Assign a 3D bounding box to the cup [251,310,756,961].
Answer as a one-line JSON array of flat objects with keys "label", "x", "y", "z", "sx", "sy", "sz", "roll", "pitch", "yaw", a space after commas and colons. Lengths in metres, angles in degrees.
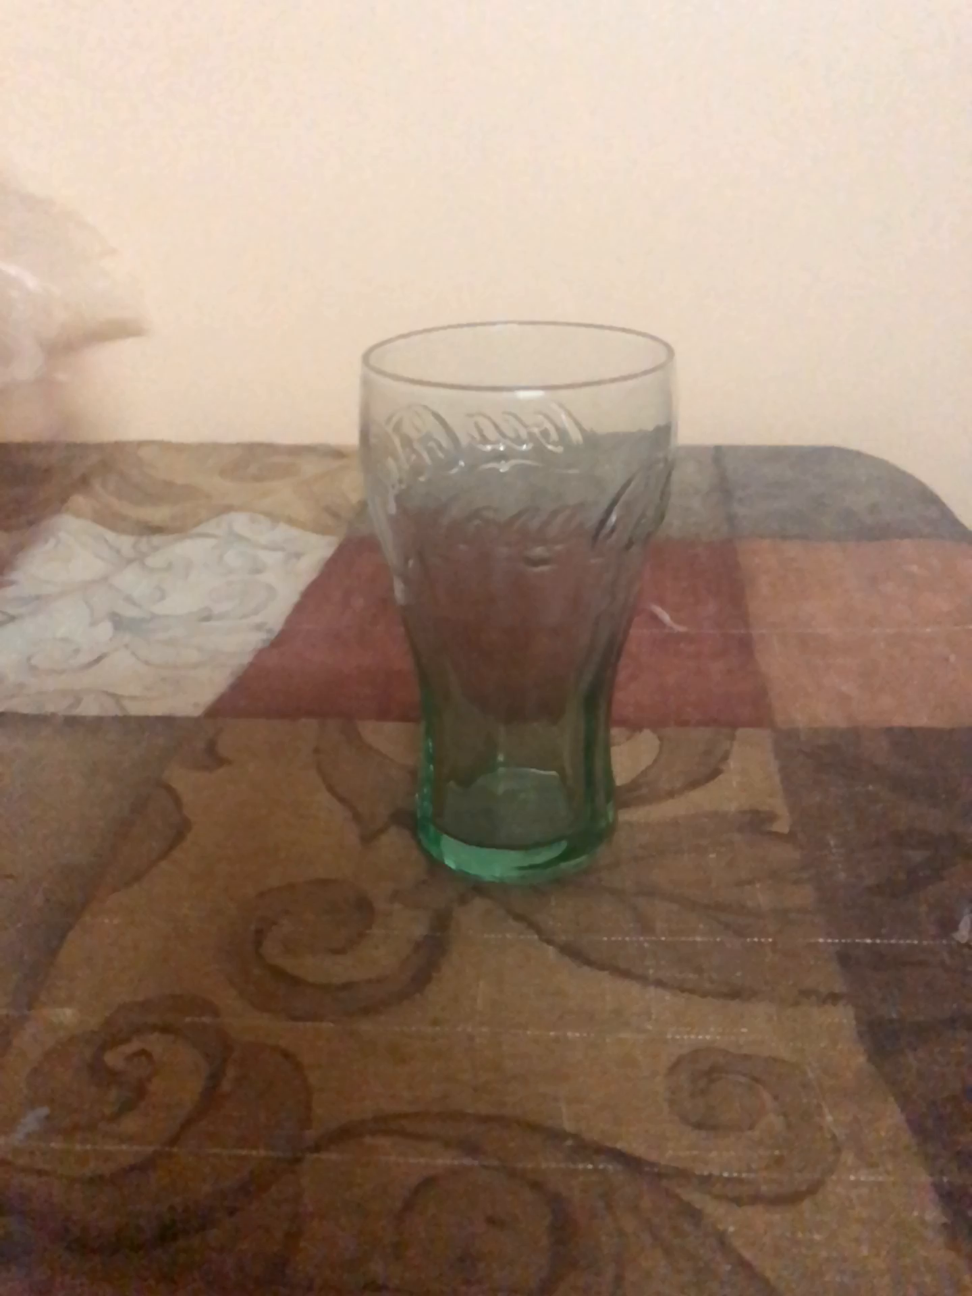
[{"label": "cup", "x": 0.003, "y": -0.009, "z": 0.236, "sx": 0.070, "sy": 0.110, "sz": 0.070, "roll": 0, "pitch": 25, "yaw": 0}]
